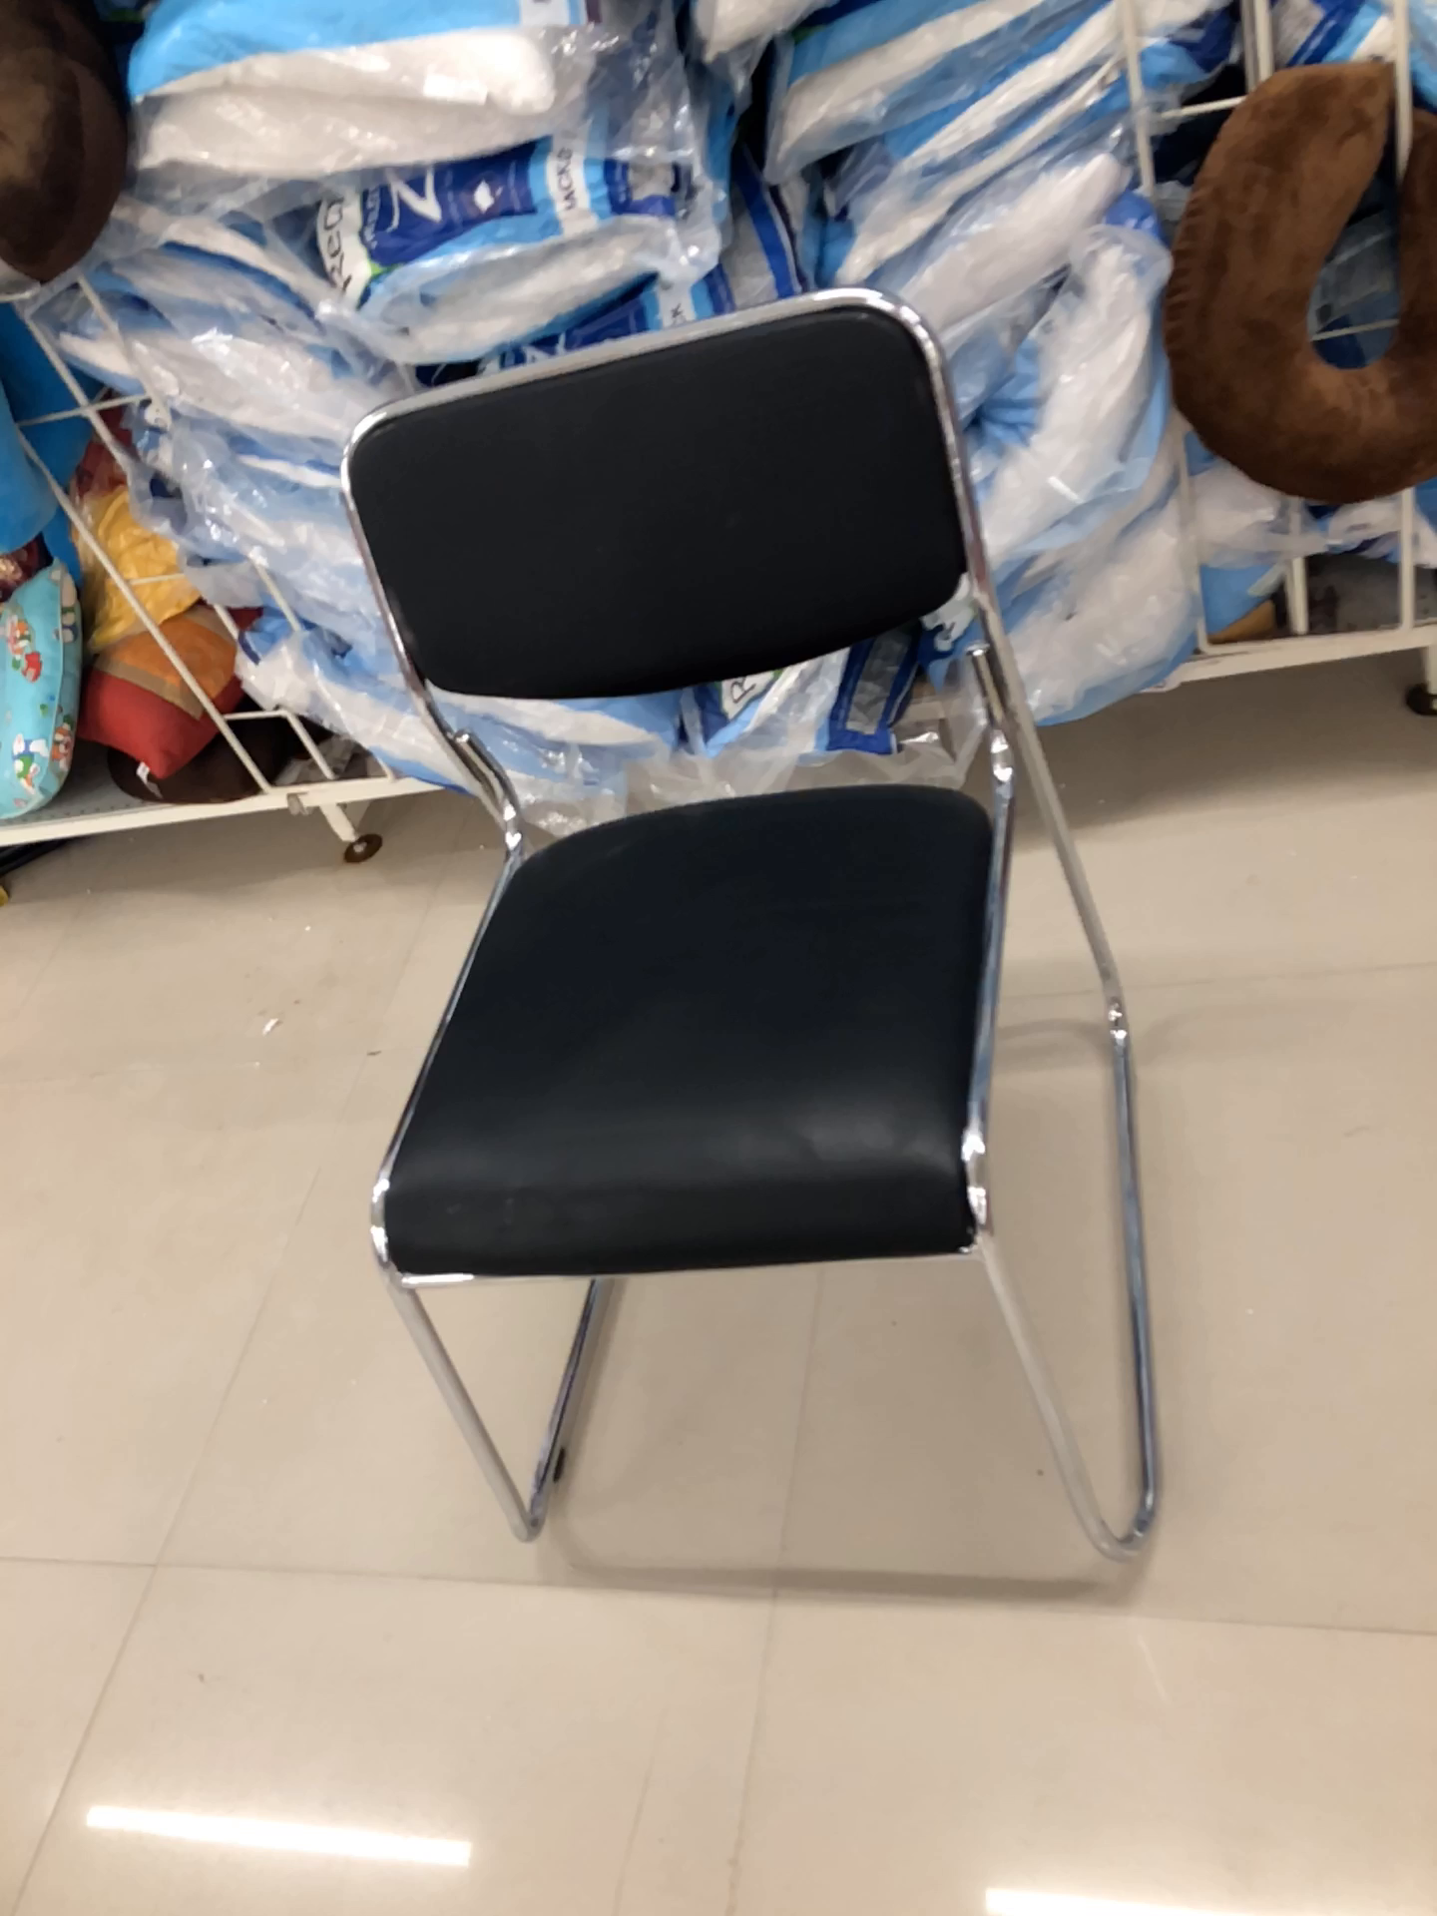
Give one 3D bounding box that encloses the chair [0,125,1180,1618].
[{"bbox_3d":[-0.019,0.007,1.099,0.570,0.795,0.563,-5,46,20],"label":"chair"}]
